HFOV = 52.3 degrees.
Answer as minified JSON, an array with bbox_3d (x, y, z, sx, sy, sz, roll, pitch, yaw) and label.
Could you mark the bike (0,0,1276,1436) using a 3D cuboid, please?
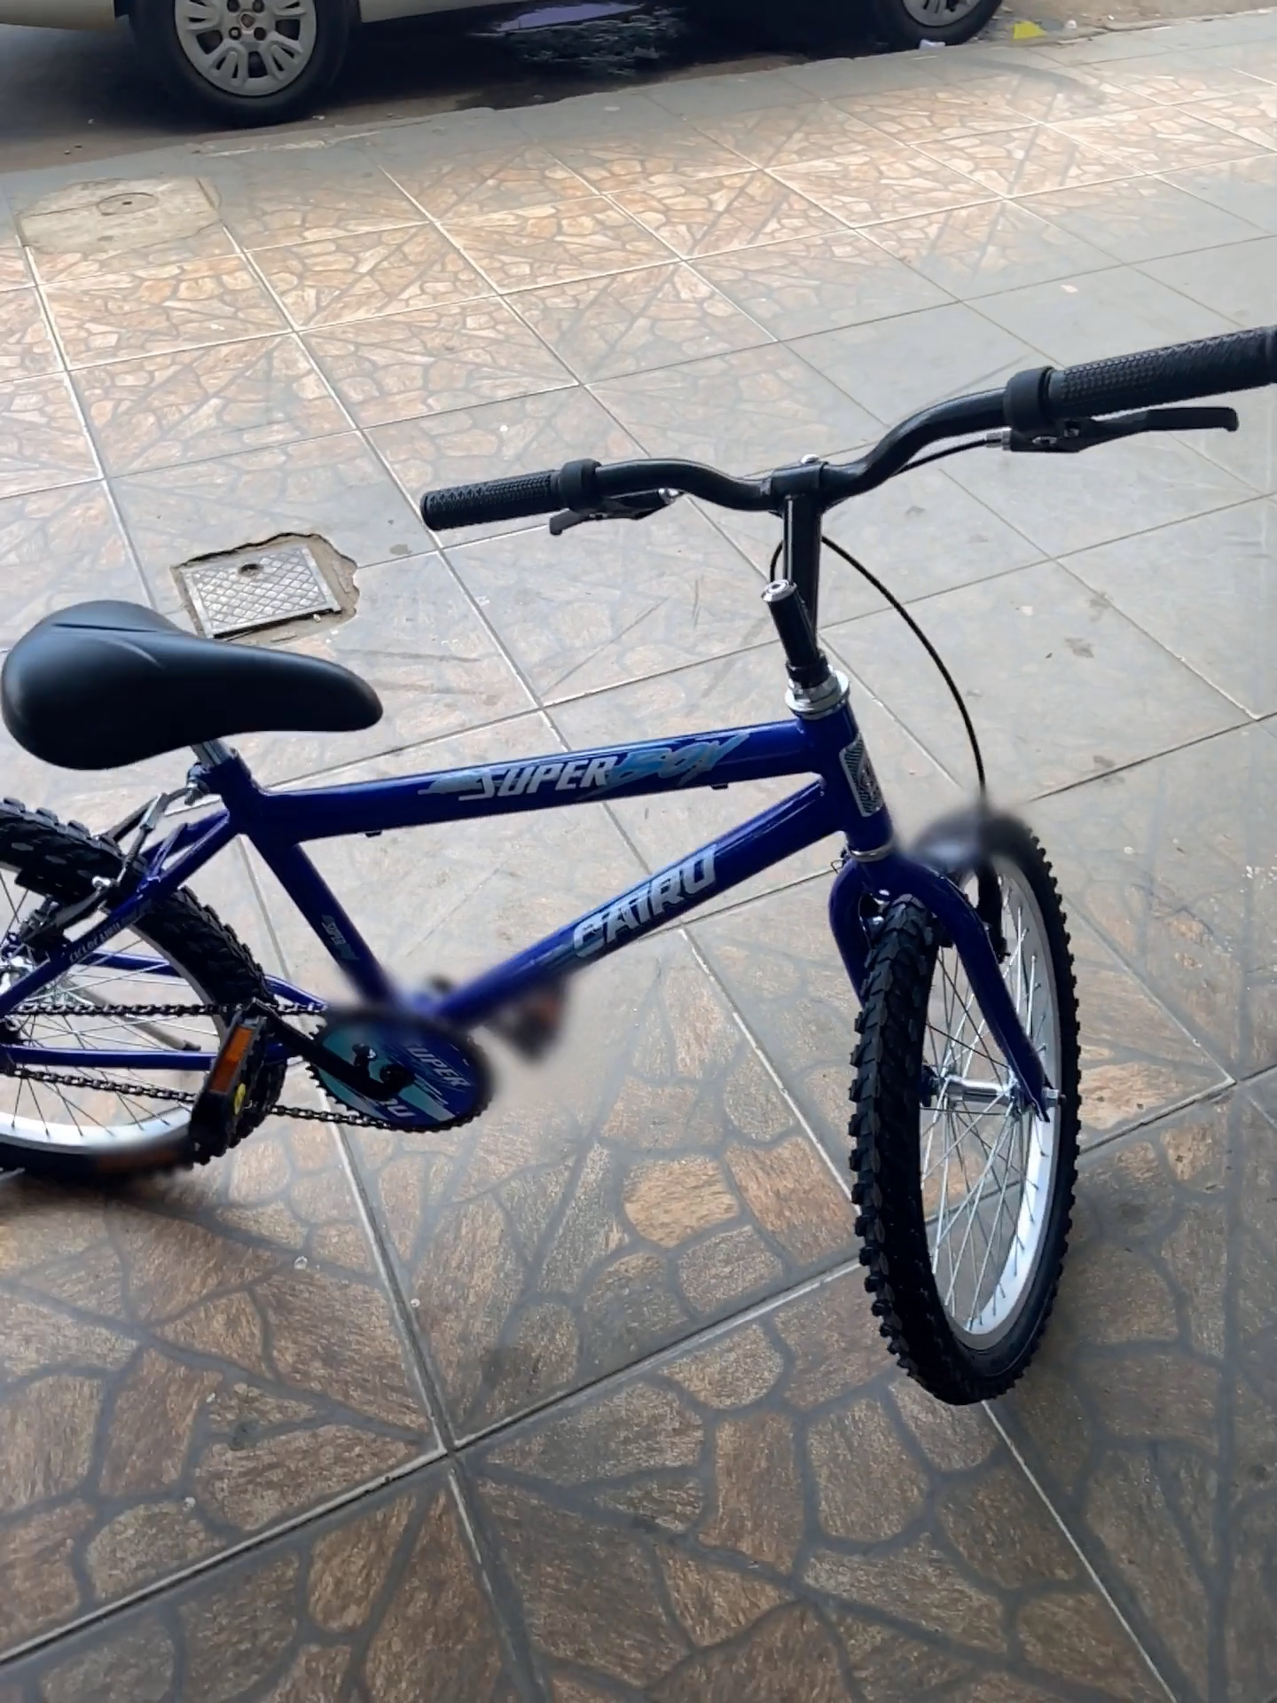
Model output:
[{"bbox_3d":[-0.237,-0.036,1.002,1.181,0.950,0.546,-3,48,-1],"label":"bike"}]
